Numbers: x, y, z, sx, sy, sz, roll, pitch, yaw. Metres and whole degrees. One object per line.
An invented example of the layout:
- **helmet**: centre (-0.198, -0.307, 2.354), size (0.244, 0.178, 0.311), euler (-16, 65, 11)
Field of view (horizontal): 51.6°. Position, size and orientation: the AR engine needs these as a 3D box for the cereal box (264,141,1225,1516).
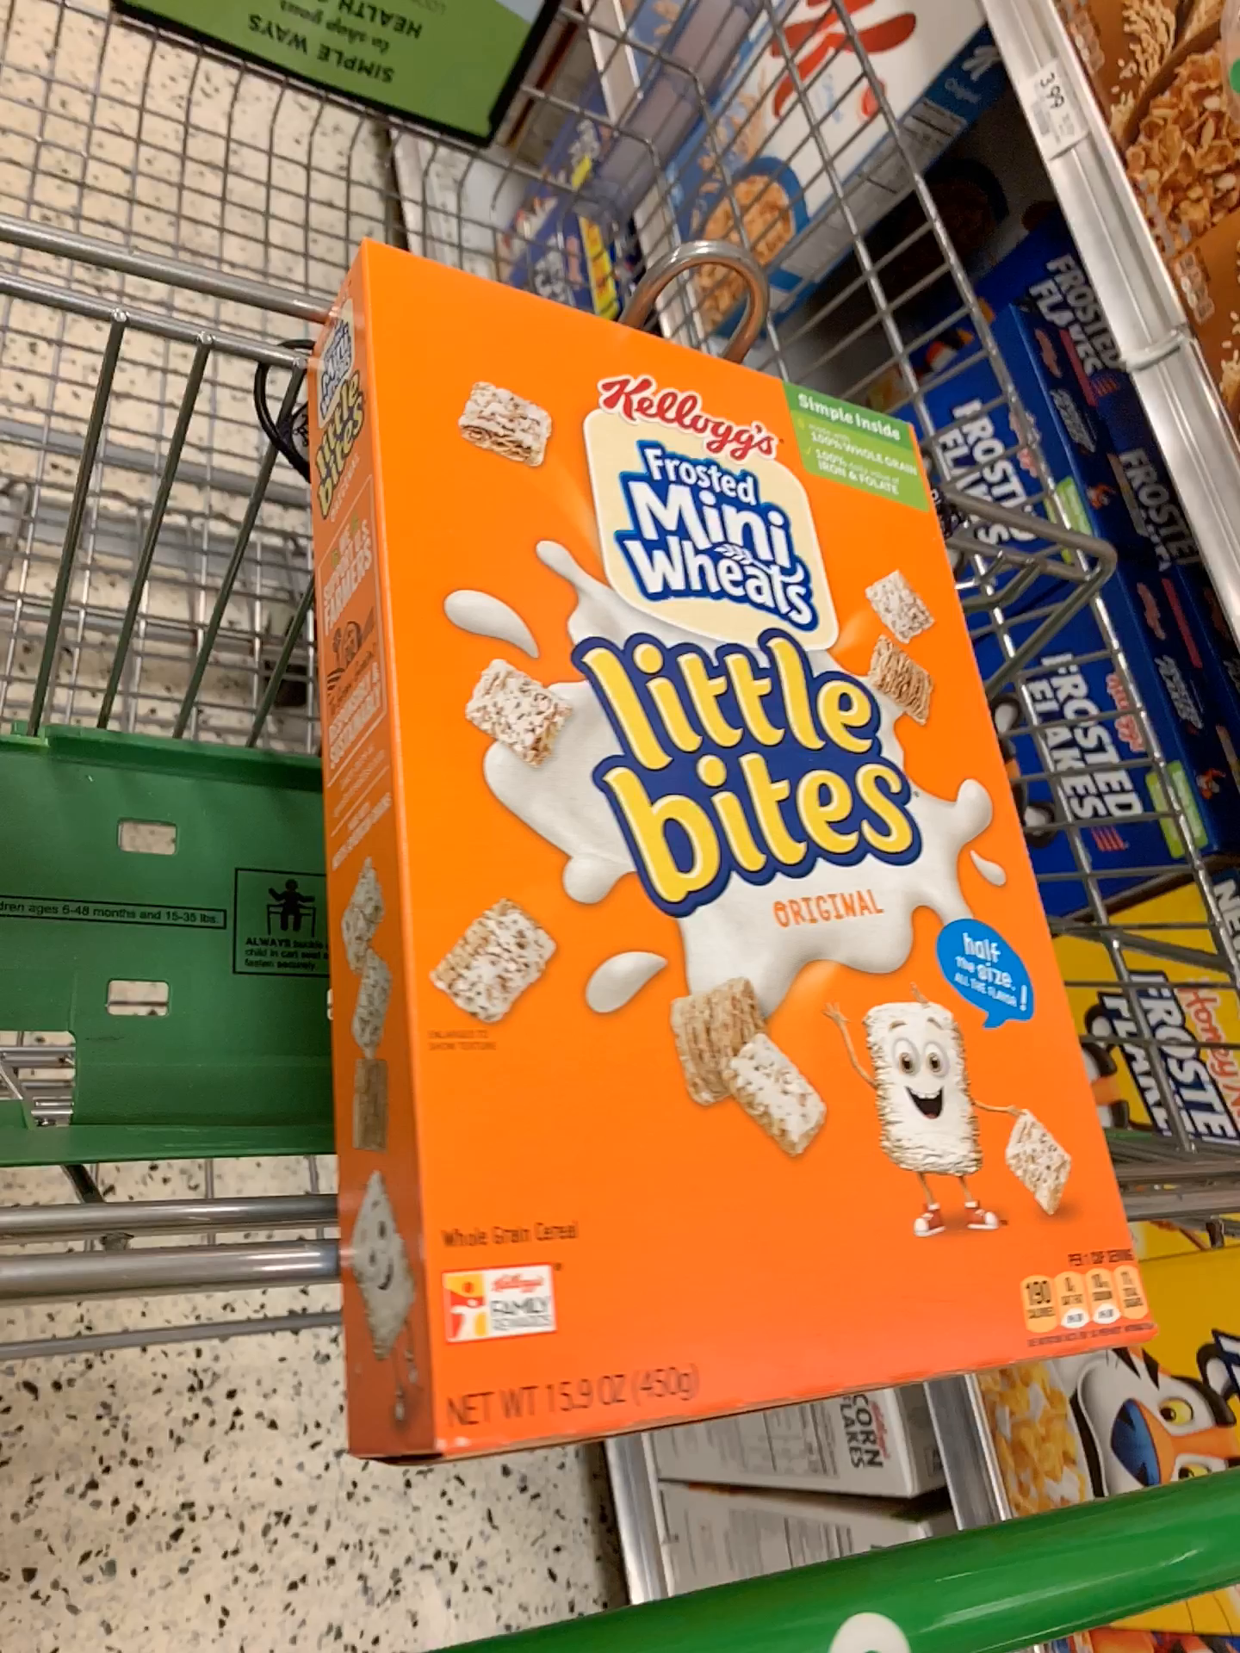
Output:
- **cereal box**: centre (0.020, -0.013, 0.346), size (0.211, 0.059, 0.321), euler (7, 62, -30)
